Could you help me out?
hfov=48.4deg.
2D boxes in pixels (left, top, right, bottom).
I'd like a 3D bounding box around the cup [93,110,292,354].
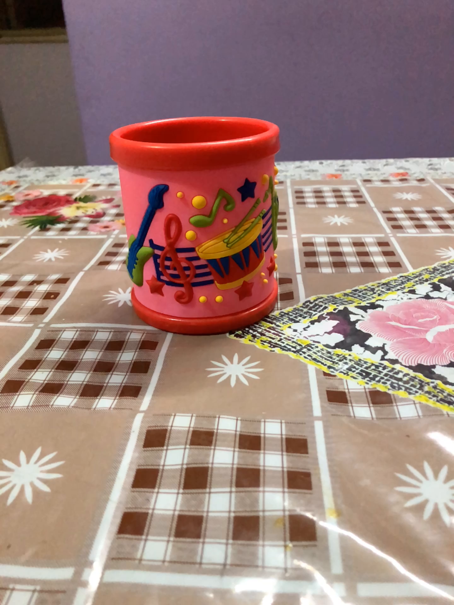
[{"bbox_3d":[-0.015,-0.040,0.261,0.080,0.099,0.080,-1,27,1],"label":"cup"}]
